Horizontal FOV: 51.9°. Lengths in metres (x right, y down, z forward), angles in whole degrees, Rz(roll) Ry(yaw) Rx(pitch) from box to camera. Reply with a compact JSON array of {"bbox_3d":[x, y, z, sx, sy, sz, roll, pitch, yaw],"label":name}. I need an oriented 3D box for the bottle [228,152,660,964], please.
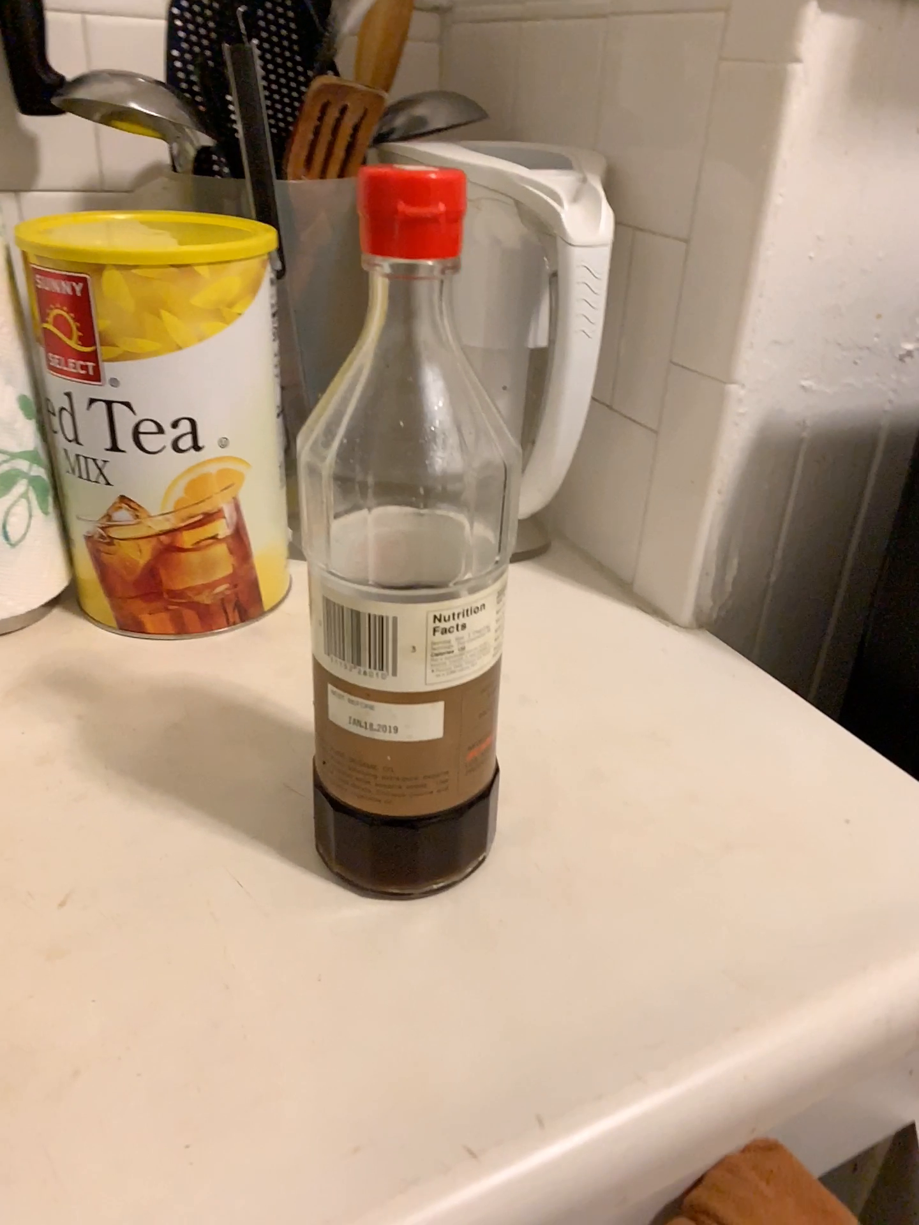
[{"bbox_3d":[-0.014,-0.016,0.336,0.090,0.258,0.090,3,29,-2],"label":"bottle"}]
